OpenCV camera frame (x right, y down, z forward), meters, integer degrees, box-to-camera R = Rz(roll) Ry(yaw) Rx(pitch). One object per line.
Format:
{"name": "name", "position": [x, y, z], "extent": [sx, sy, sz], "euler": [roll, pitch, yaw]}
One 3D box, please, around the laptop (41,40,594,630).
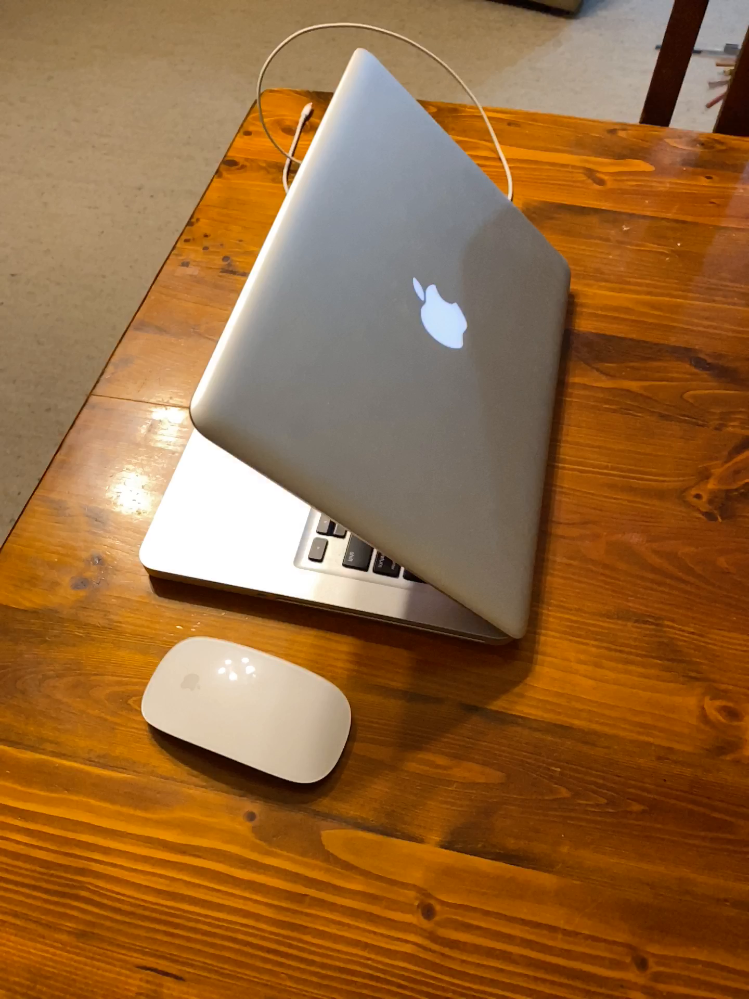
{"name": "laptop", "position": [-0.004, -0.114, 0.452], "extent": [0.211, 0.136, 0.312], "euler": [10, 57, 8]}
